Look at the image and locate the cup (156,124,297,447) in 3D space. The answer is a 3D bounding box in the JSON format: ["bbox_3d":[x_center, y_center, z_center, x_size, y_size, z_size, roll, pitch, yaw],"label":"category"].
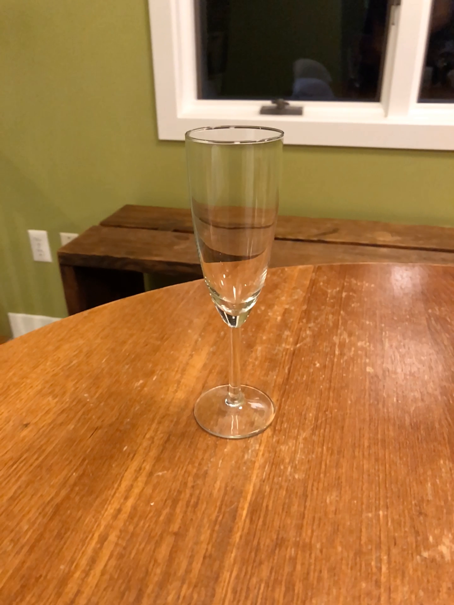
[{"bbox_3d":[0.005,-0.010,0.358,0.070,0.211,0.077,6,28,14],"label":"cup"}]
